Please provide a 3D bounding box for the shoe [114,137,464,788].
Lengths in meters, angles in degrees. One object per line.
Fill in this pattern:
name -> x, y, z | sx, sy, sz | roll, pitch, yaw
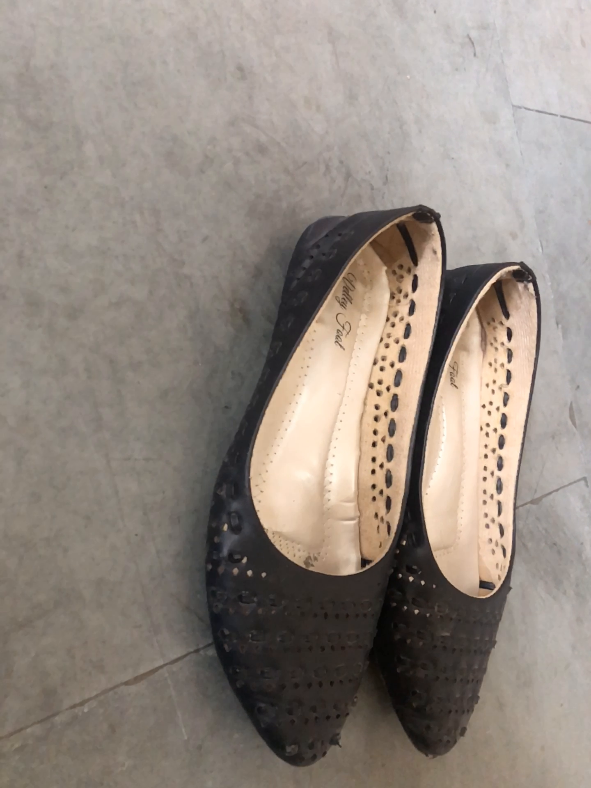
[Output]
shoe -> 0.007, 0.032, 0.275 | 0.096, 0.062, 0.242 | 20, 70, -35

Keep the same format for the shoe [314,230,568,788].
shoe -> 0.080, 0.055, 0.337 | 0.096, 0.073, 0.242 | 16, 72, -36
